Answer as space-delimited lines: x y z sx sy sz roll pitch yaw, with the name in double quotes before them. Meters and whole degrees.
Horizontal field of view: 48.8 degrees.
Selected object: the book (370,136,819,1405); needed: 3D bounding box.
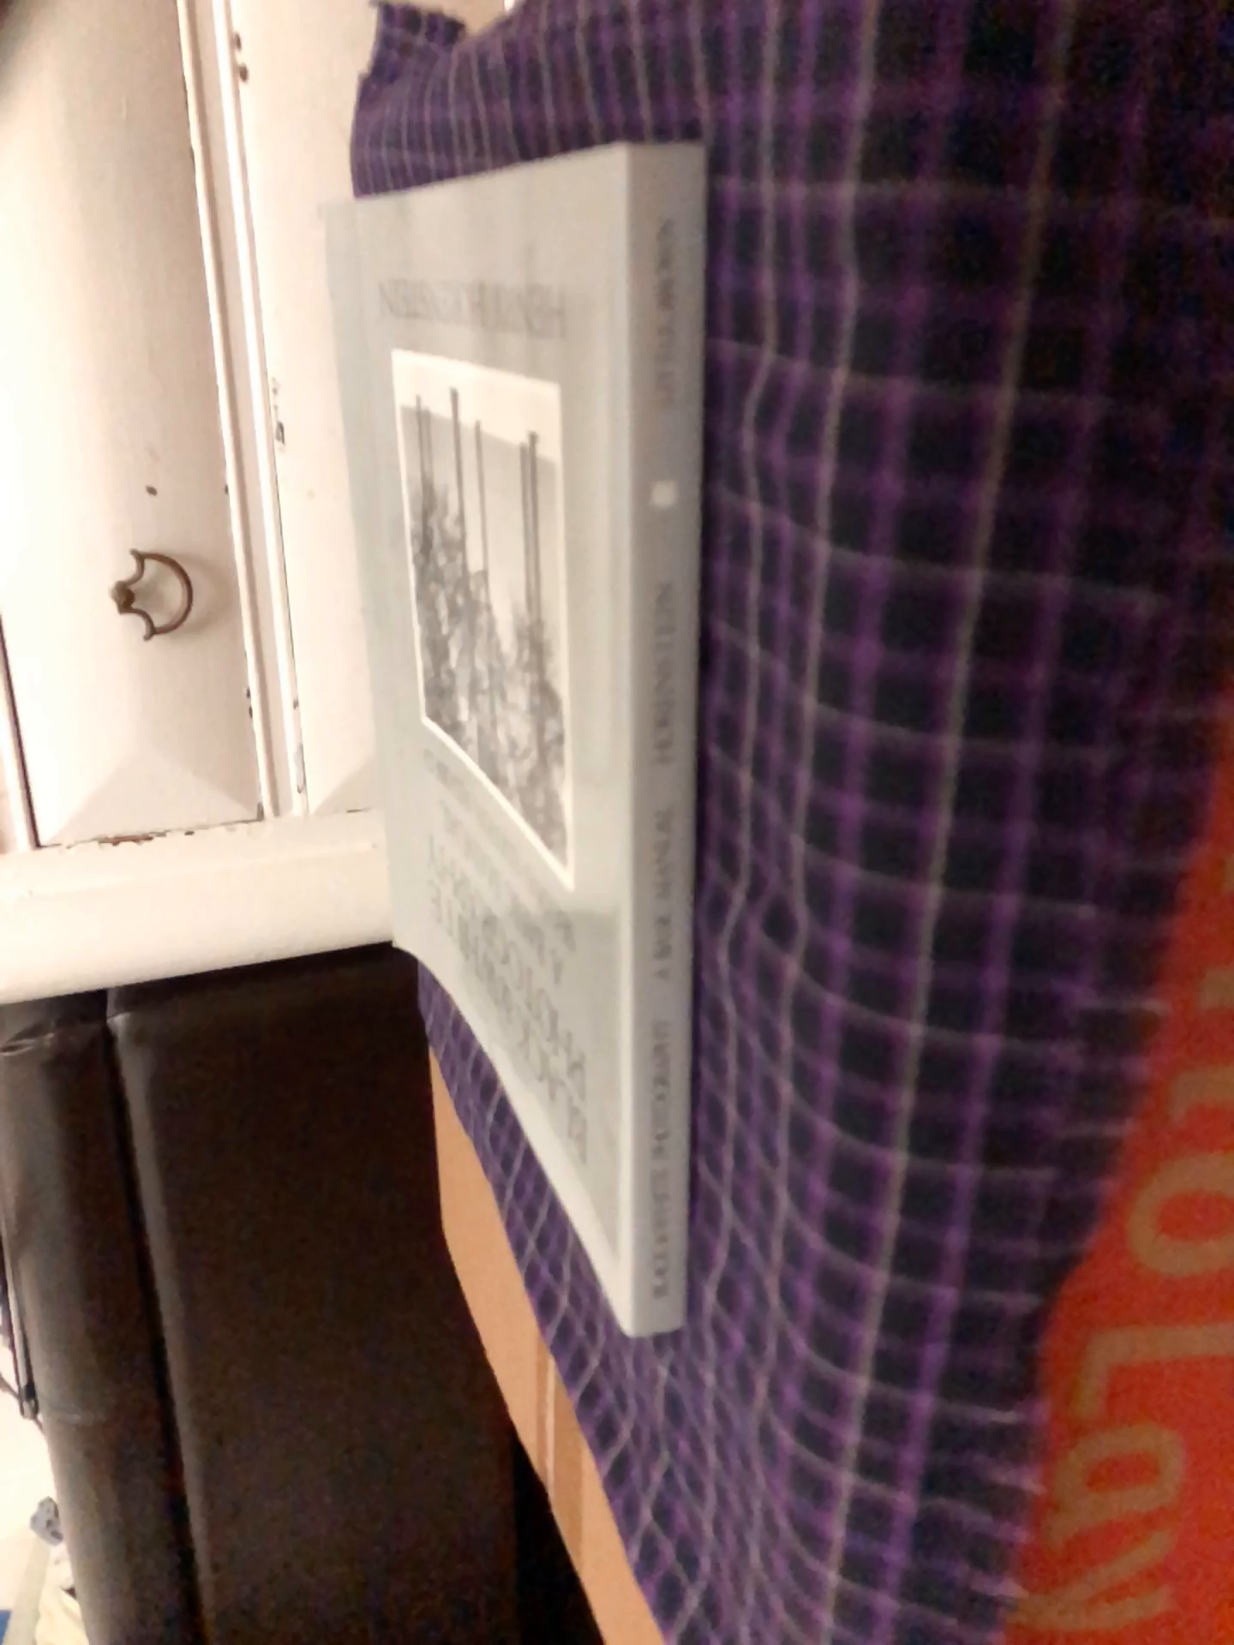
"book" -0.019 -0.027 0.348 0.211 0.030 0.250 -135 41 -60
